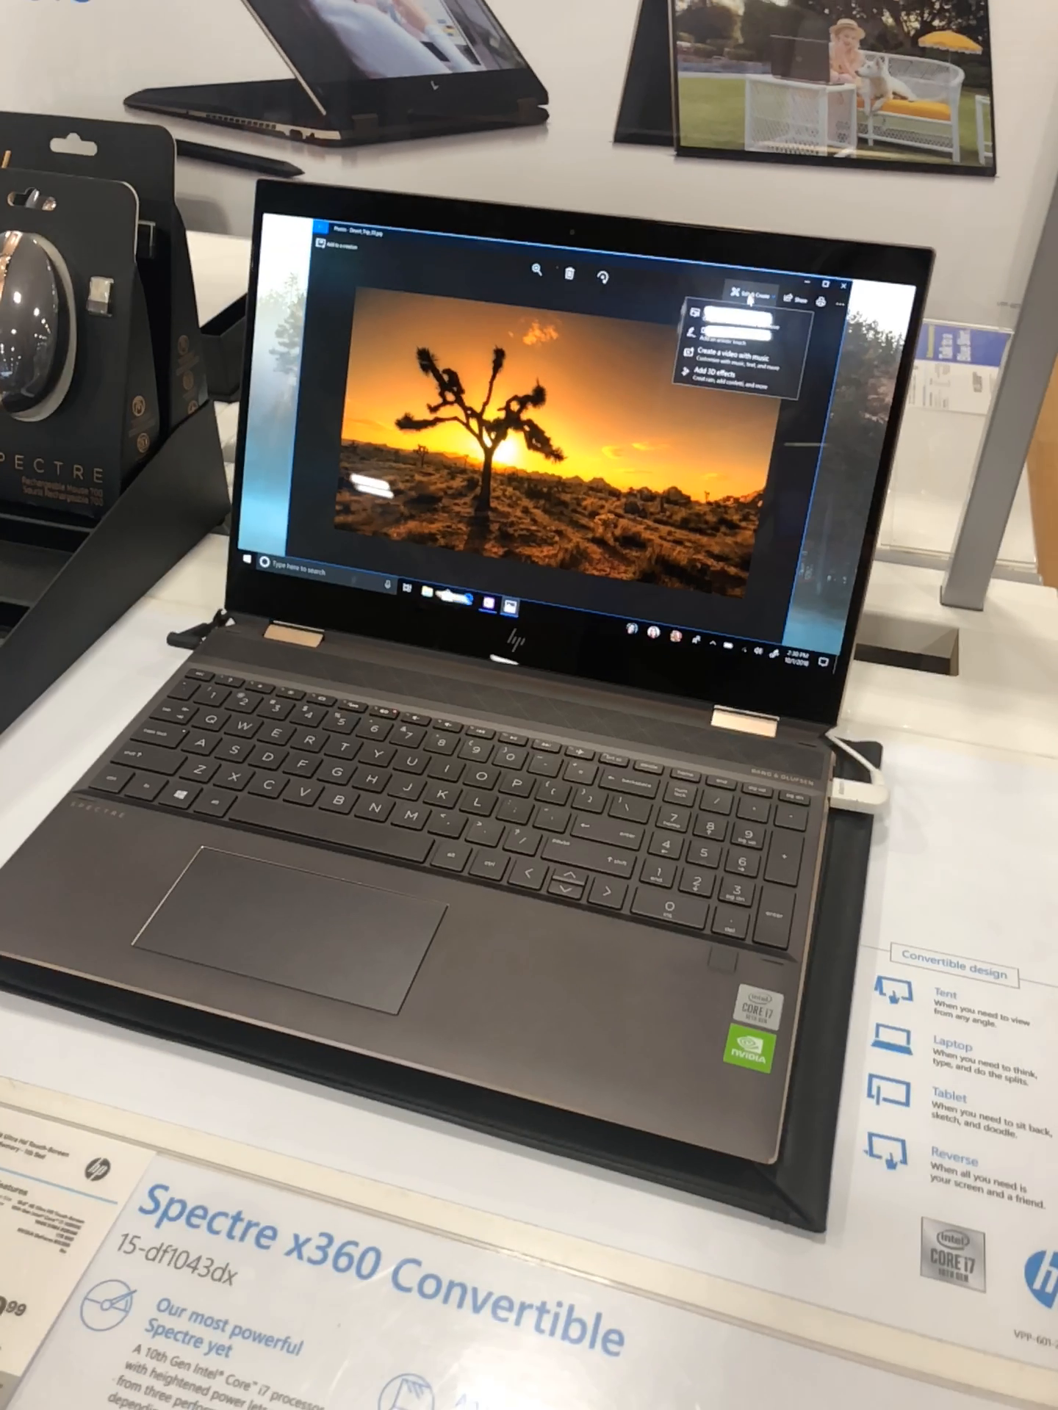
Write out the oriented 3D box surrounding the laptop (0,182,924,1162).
[{"bbox_3d":[-0.027,-0.058,0.530,0.348,0.209,0.361,11,41,12],"label":"laptop"}]
